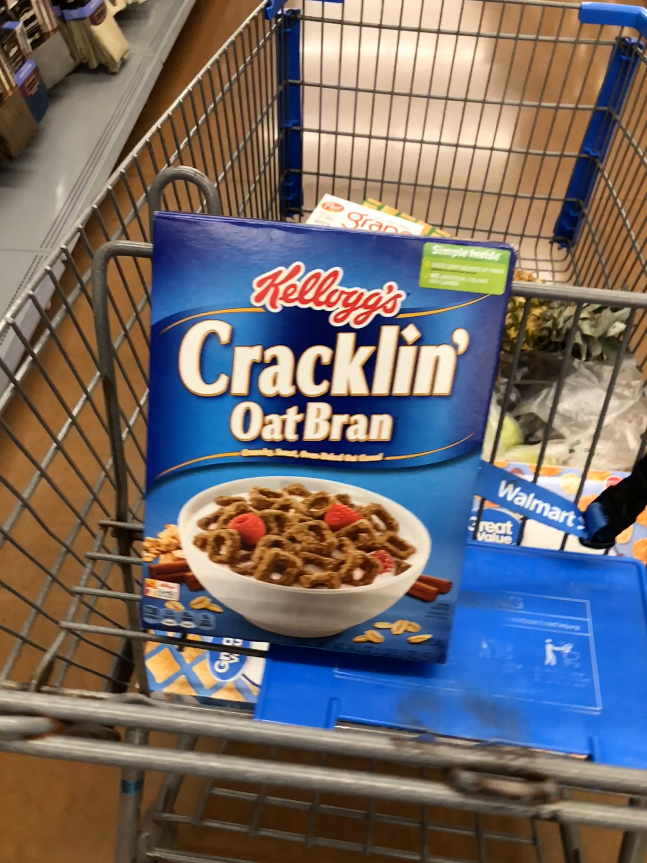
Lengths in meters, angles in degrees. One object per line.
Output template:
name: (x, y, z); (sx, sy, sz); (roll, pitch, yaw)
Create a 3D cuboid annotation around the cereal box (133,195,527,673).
cereal box: (-0.005, 0.005, 0.429); (0.200, 0.260, 0.050); (6, 15, 2)
